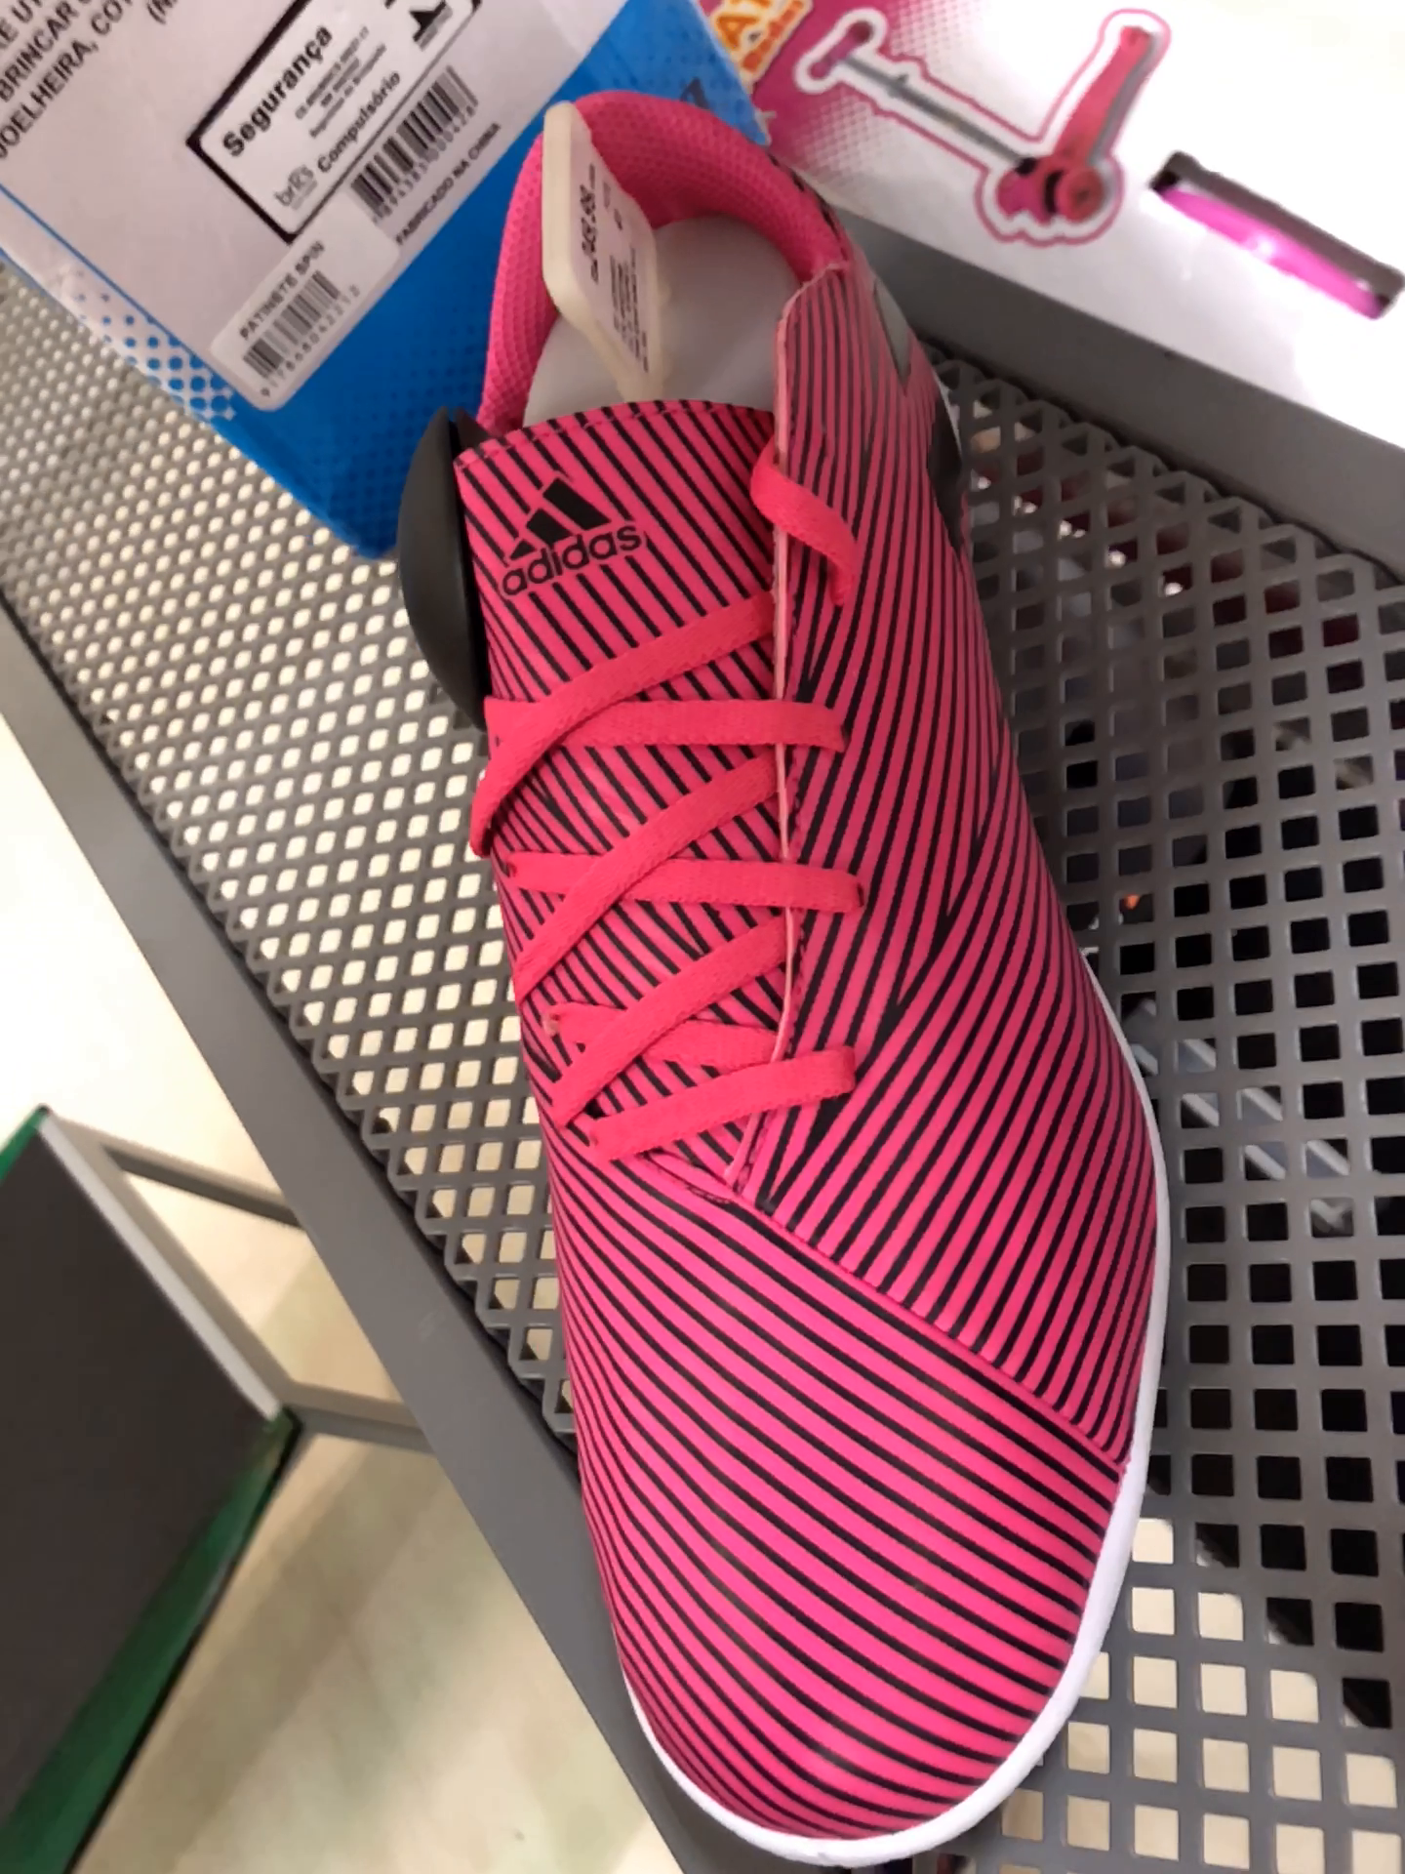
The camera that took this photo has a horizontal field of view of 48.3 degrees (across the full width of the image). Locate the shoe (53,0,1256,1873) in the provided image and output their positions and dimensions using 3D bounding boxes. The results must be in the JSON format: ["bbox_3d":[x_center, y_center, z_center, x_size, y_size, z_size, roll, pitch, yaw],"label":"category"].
[{"bbox_3d":[0.003,-0.010,0.232,0.095,0.100,0.261,-14,60,28],"label":"shoe"}]
